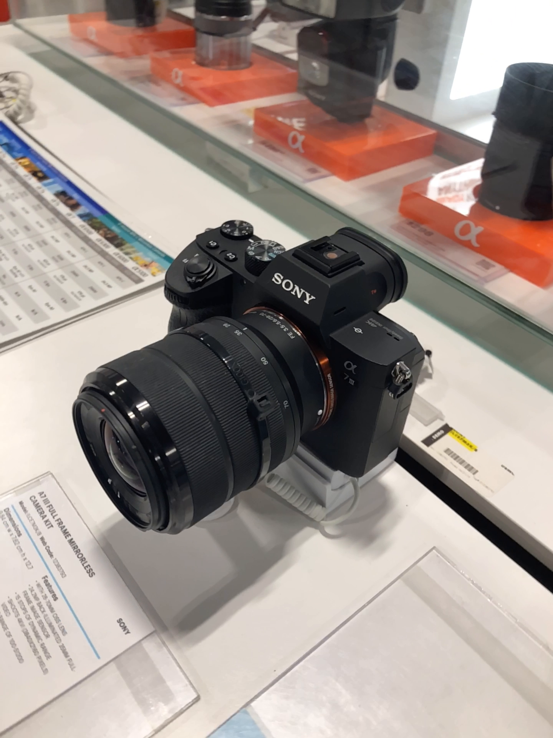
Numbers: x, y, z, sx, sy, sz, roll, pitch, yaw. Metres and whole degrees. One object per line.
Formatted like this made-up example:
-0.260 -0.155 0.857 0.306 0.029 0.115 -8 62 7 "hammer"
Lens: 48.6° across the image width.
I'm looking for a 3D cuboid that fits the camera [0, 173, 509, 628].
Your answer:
-0.012 -0.006 0.275 0.160 0.079 0.141 -28 50 -31 "camera"
